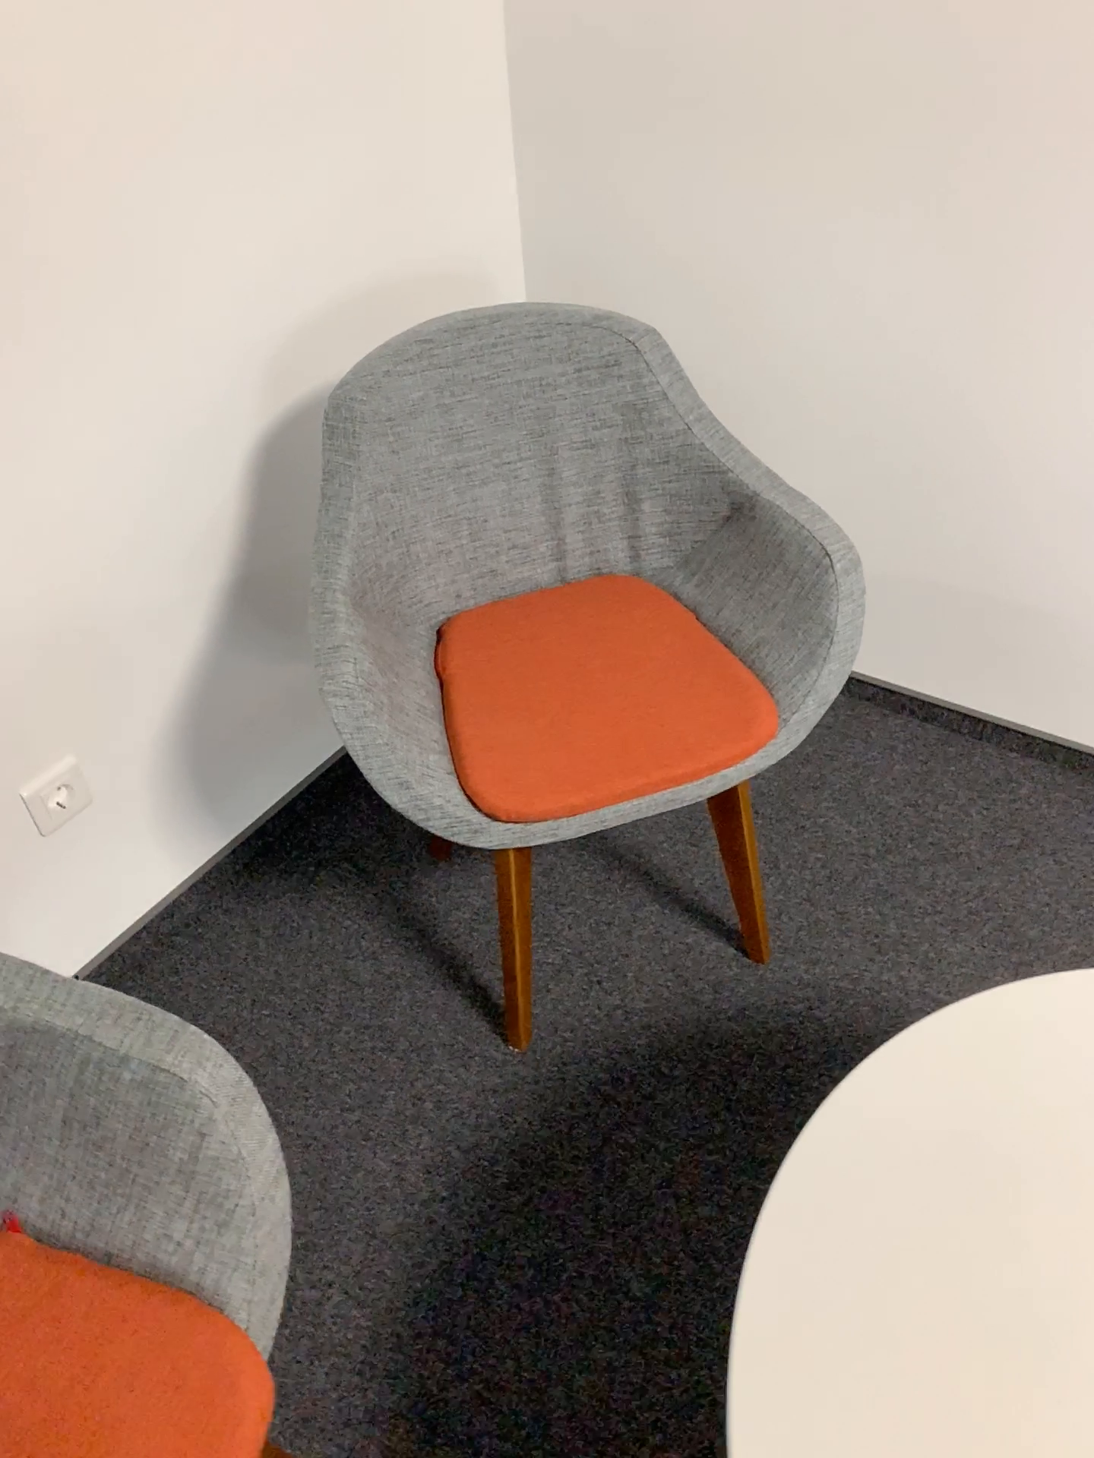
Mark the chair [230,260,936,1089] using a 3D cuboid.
[{"bbox_3d":[0.028,-0.064,1.479,0.630,0.835,0.502,-15,42,-12],"label":"chair"}]
